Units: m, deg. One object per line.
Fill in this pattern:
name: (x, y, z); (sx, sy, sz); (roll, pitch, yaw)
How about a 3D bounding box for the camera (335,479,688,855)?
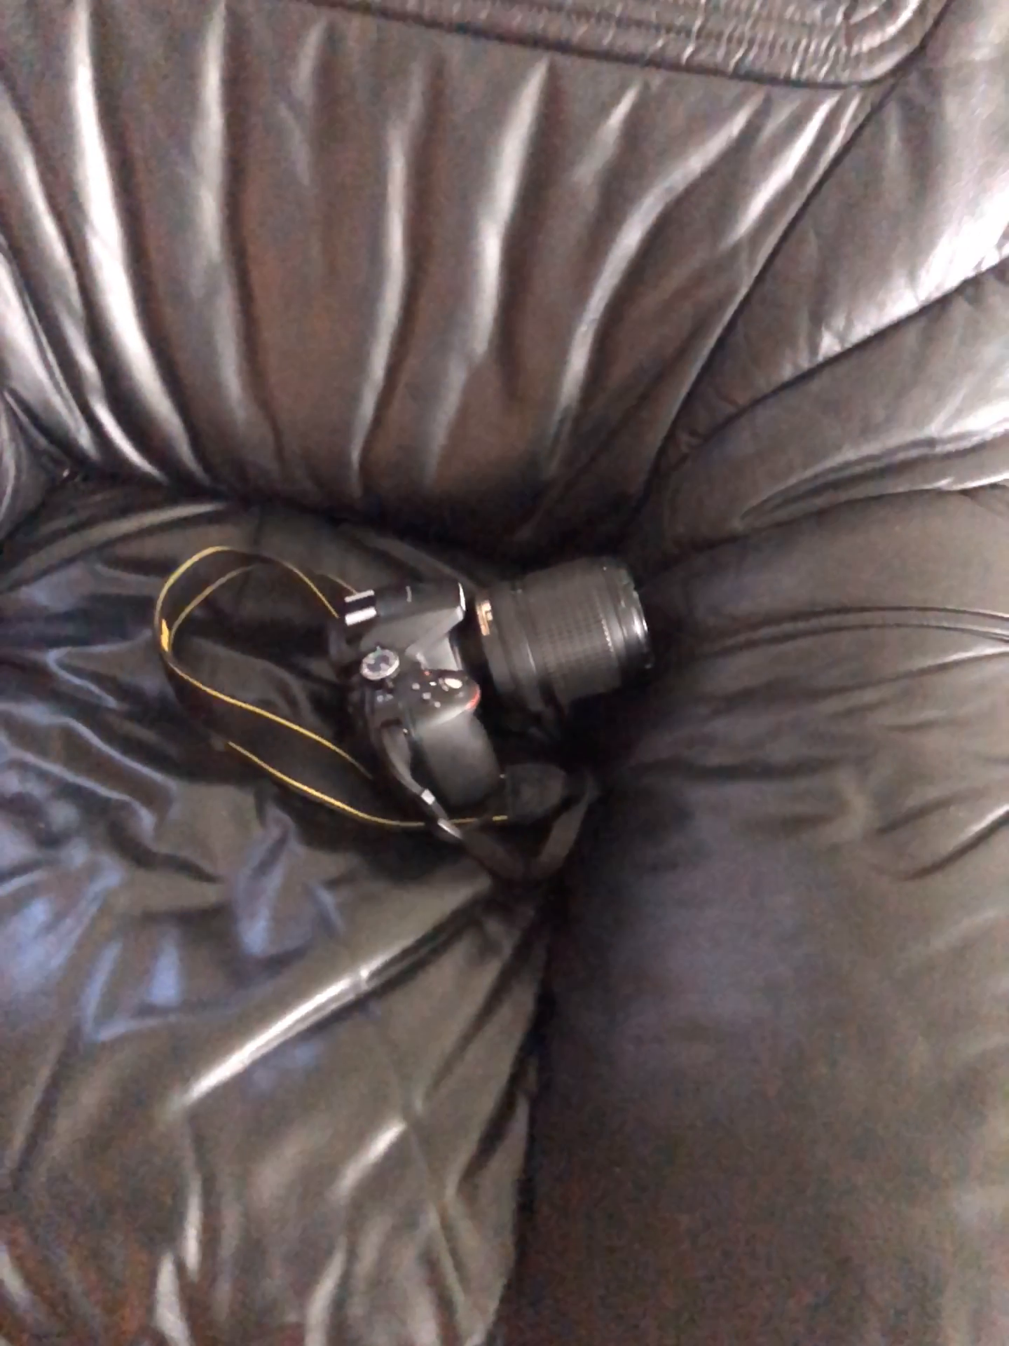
camera: (0.003, -0.004, 0.684); (0.170, 0.130, 0.140); (-16, 45, 2)
